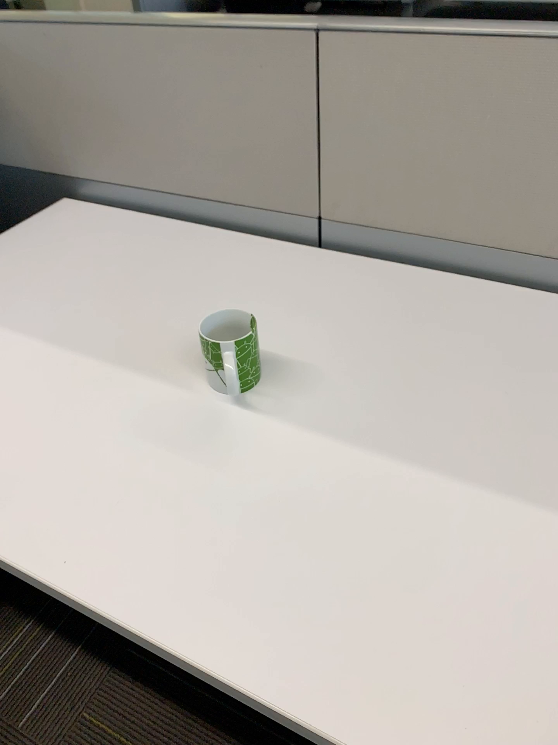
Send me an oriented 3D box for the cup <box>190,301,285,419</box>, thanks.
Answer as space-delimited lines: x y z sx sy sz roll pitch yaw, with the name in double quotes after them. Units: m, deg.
-0.060 -0.021 0.824 0.090 0.090 0.131 -17 42 -15 "cup"
